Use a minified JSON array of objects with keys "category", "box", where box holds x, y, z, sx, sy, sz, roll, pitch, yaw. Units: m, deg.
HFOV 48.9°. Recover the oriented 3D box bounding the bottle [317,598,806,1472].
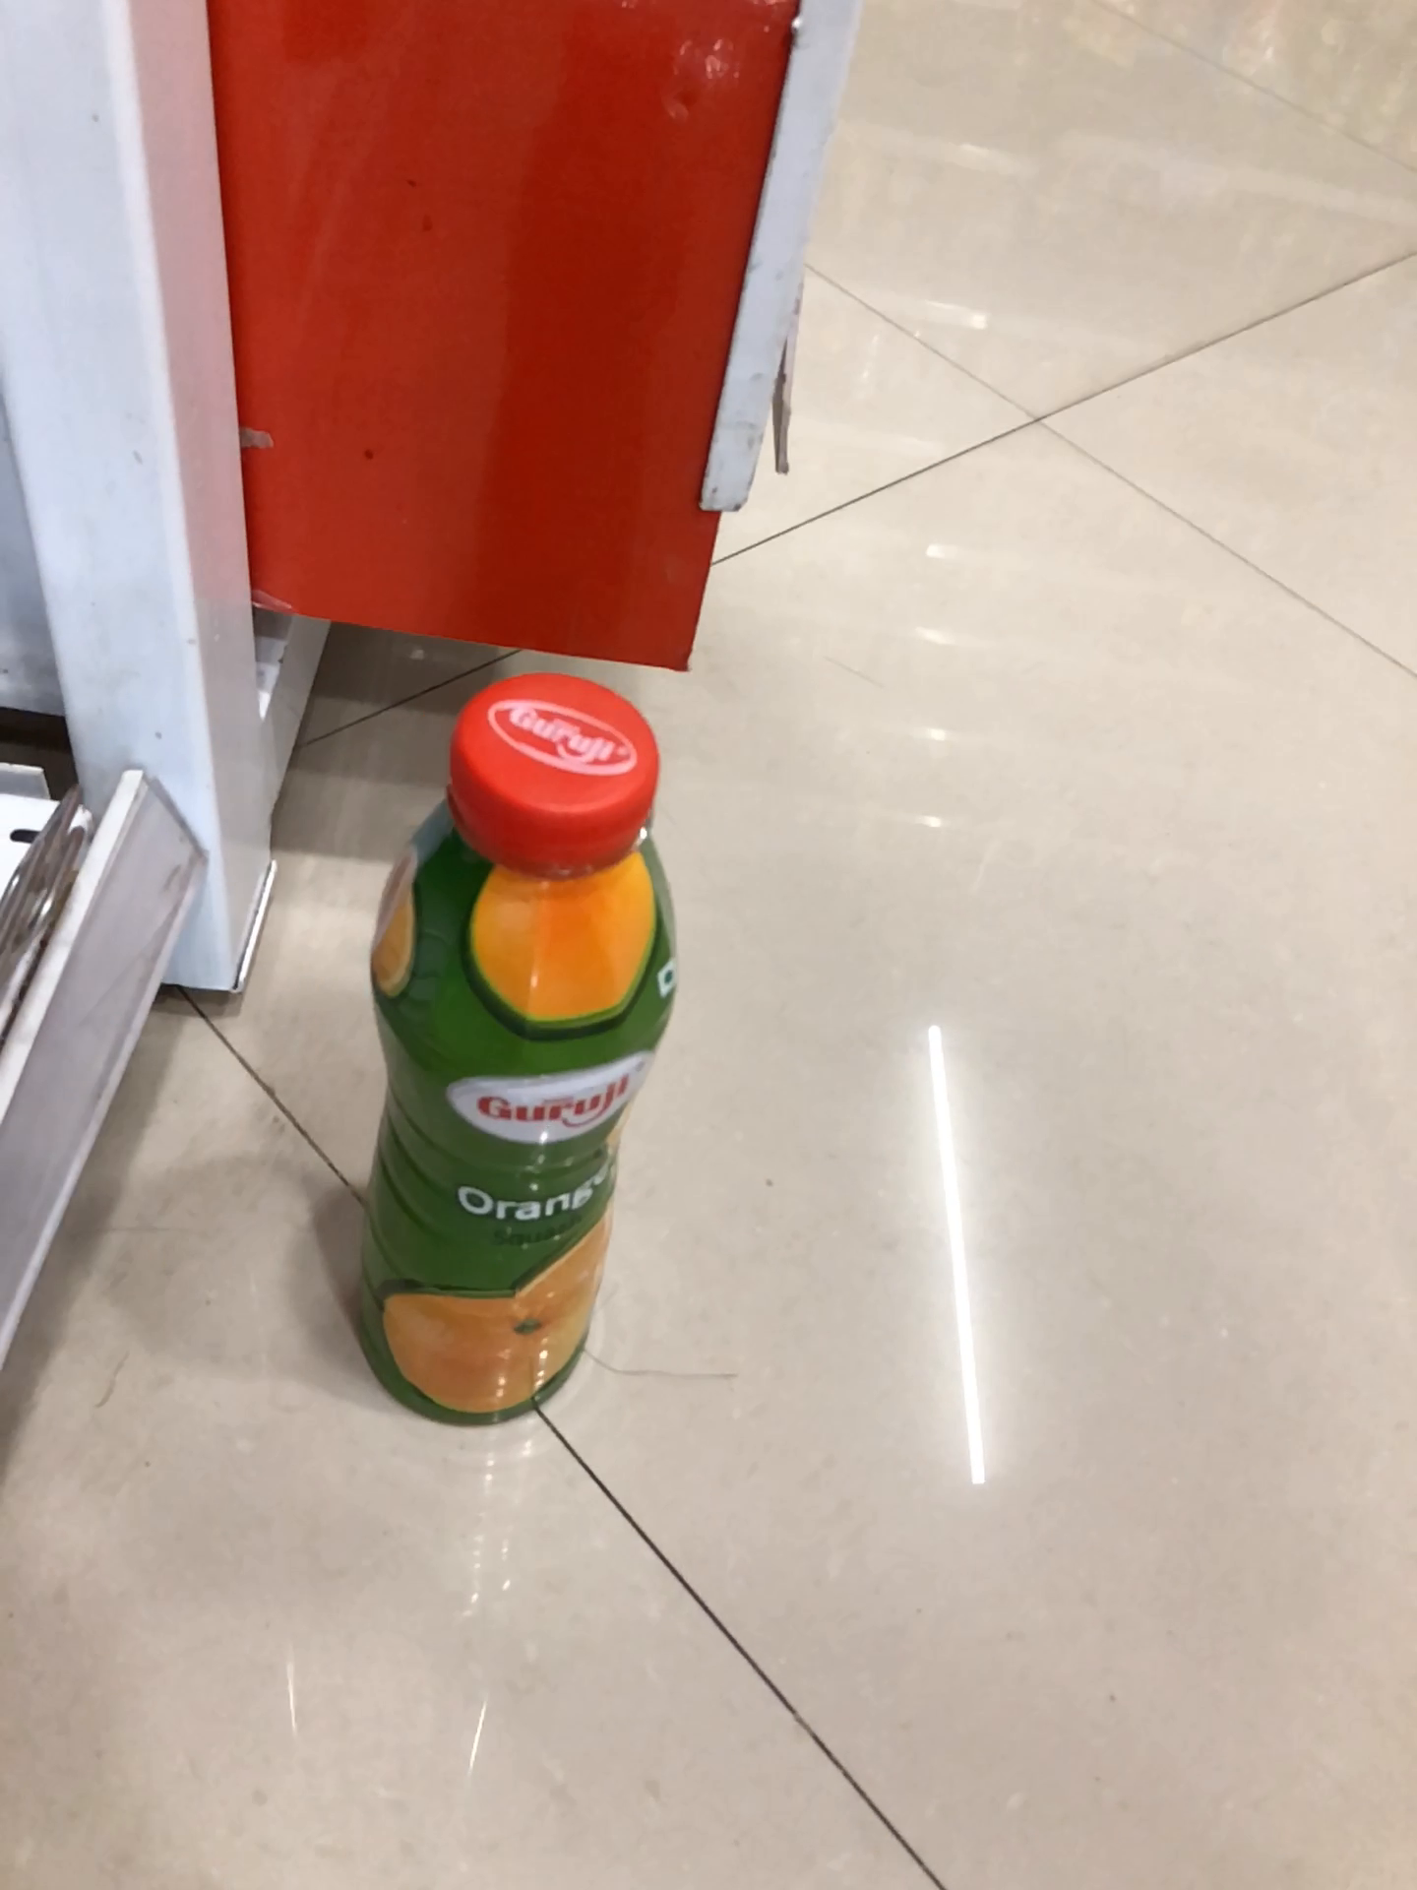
[{"category":"bottle","box":[-0.047,0.038,0.374,0.070,0.239,0.070,6,50,-7]}]
